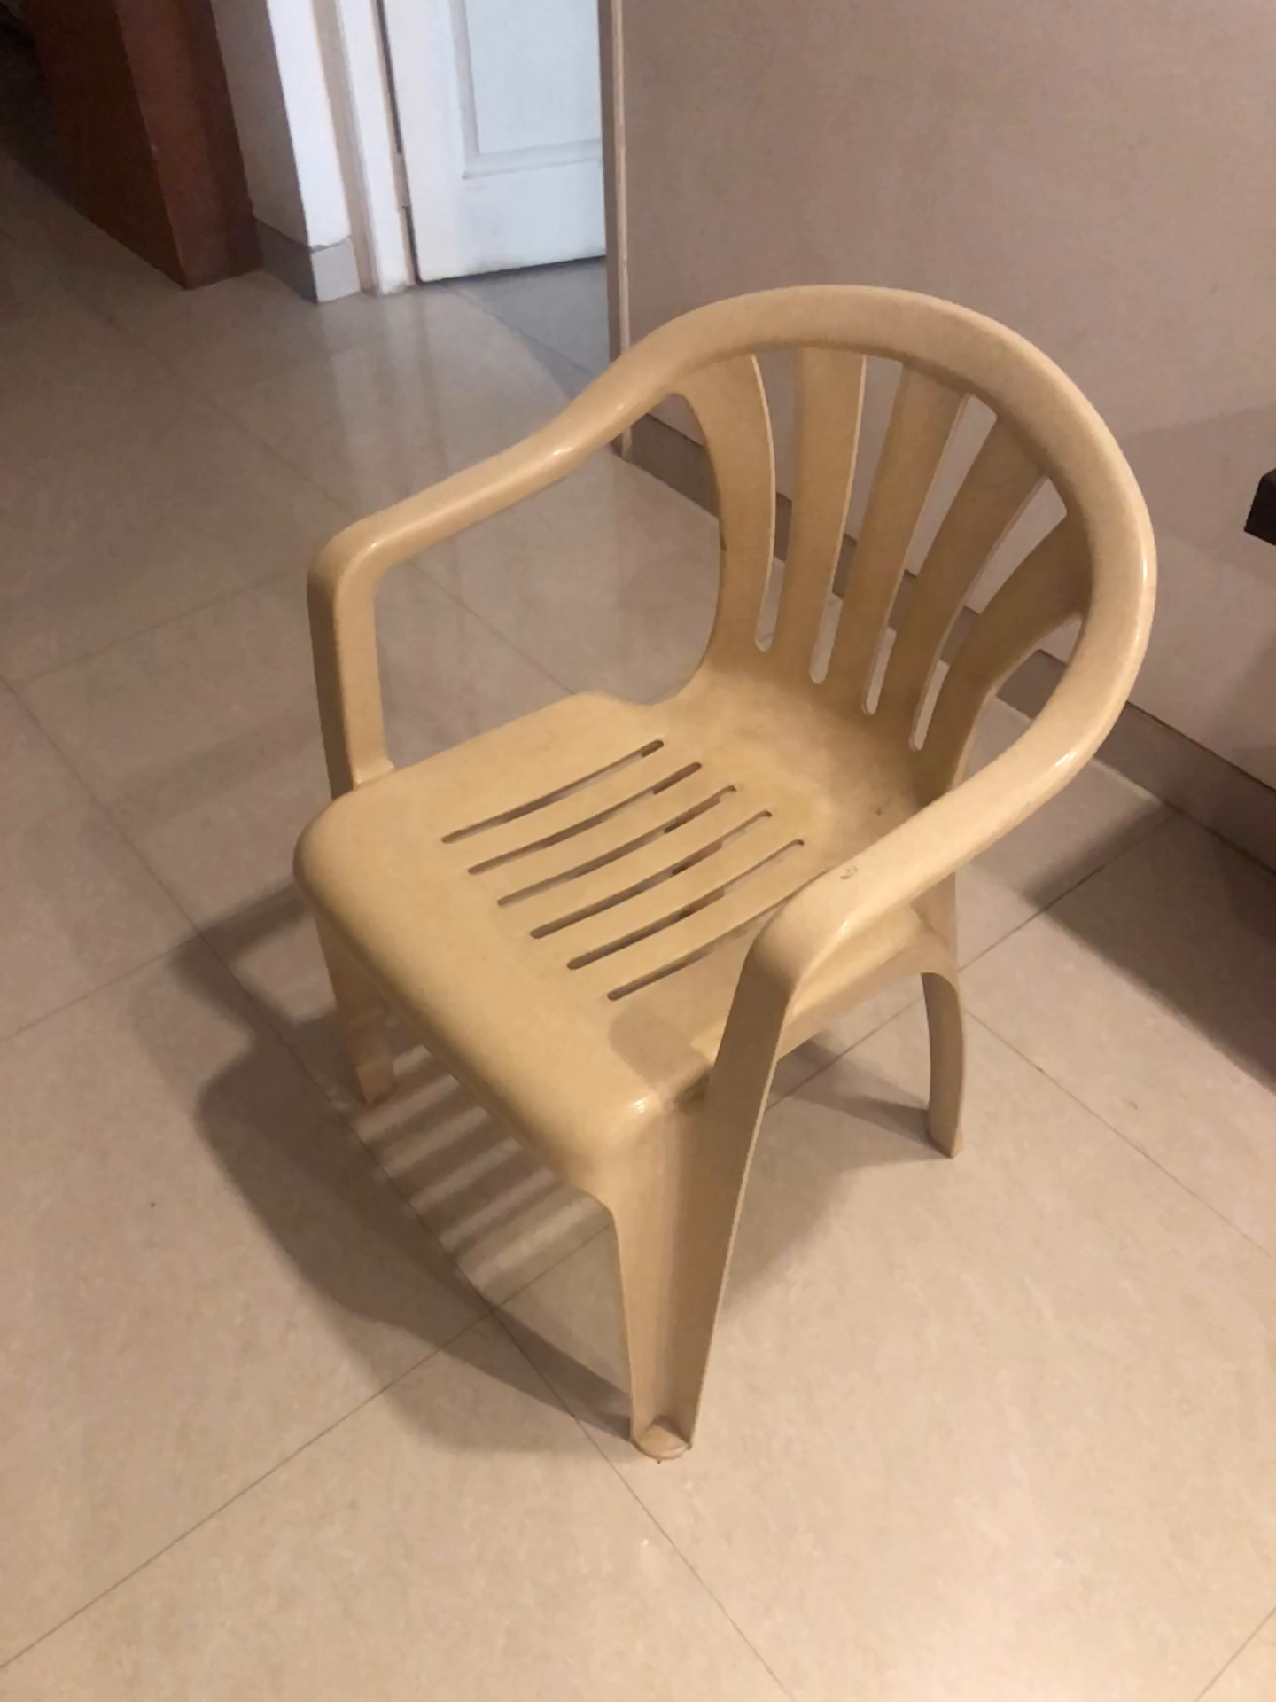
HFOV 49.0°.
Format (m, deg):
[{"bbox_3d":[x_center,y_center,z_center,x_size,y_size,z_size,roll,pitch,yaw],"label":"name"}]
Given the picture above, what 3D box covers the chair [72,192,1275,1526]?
[{"bbox_3d":[0.038,-0.002,1.186,0.592,0.774,0.572,-31,52,-26],"label":"chair"}]
